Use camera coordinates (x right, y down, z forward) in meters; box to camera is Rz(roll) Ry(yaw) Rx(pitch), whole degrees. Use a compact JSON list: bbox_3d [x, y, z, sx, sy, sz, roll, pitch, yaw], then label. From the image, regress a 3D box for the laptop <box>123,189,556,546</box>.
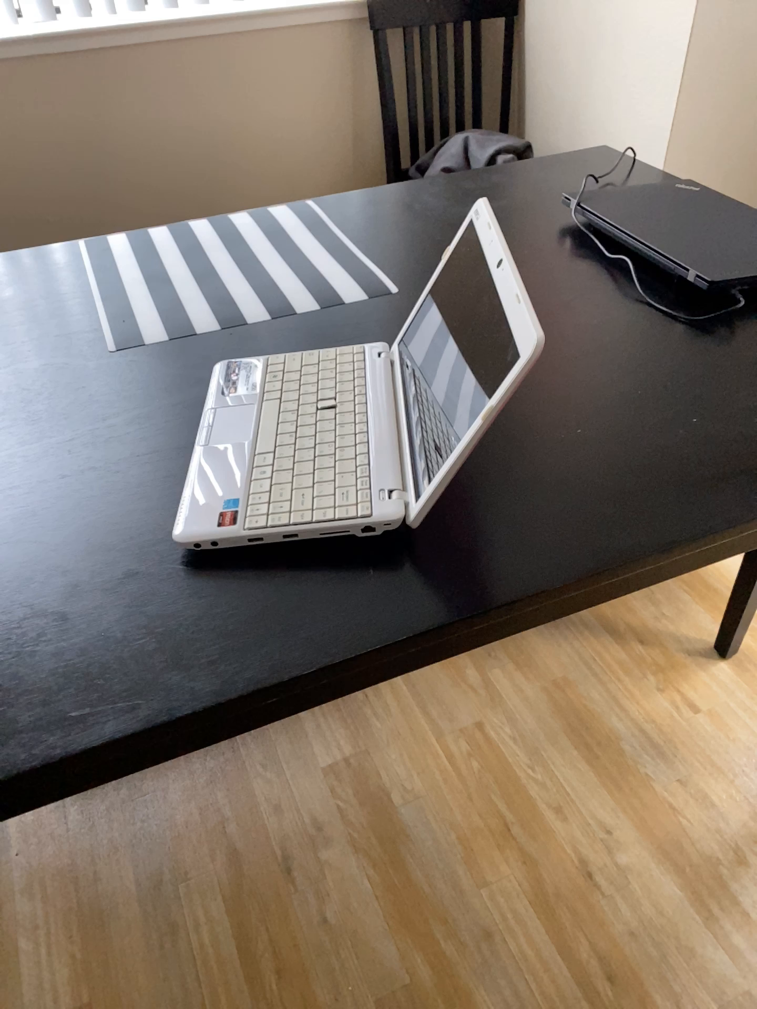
[{"bbox_3d":[-0.031,-0.136,0.692,0.301,0.153,0.296,-6,40,2],"label":"laptop"}]
